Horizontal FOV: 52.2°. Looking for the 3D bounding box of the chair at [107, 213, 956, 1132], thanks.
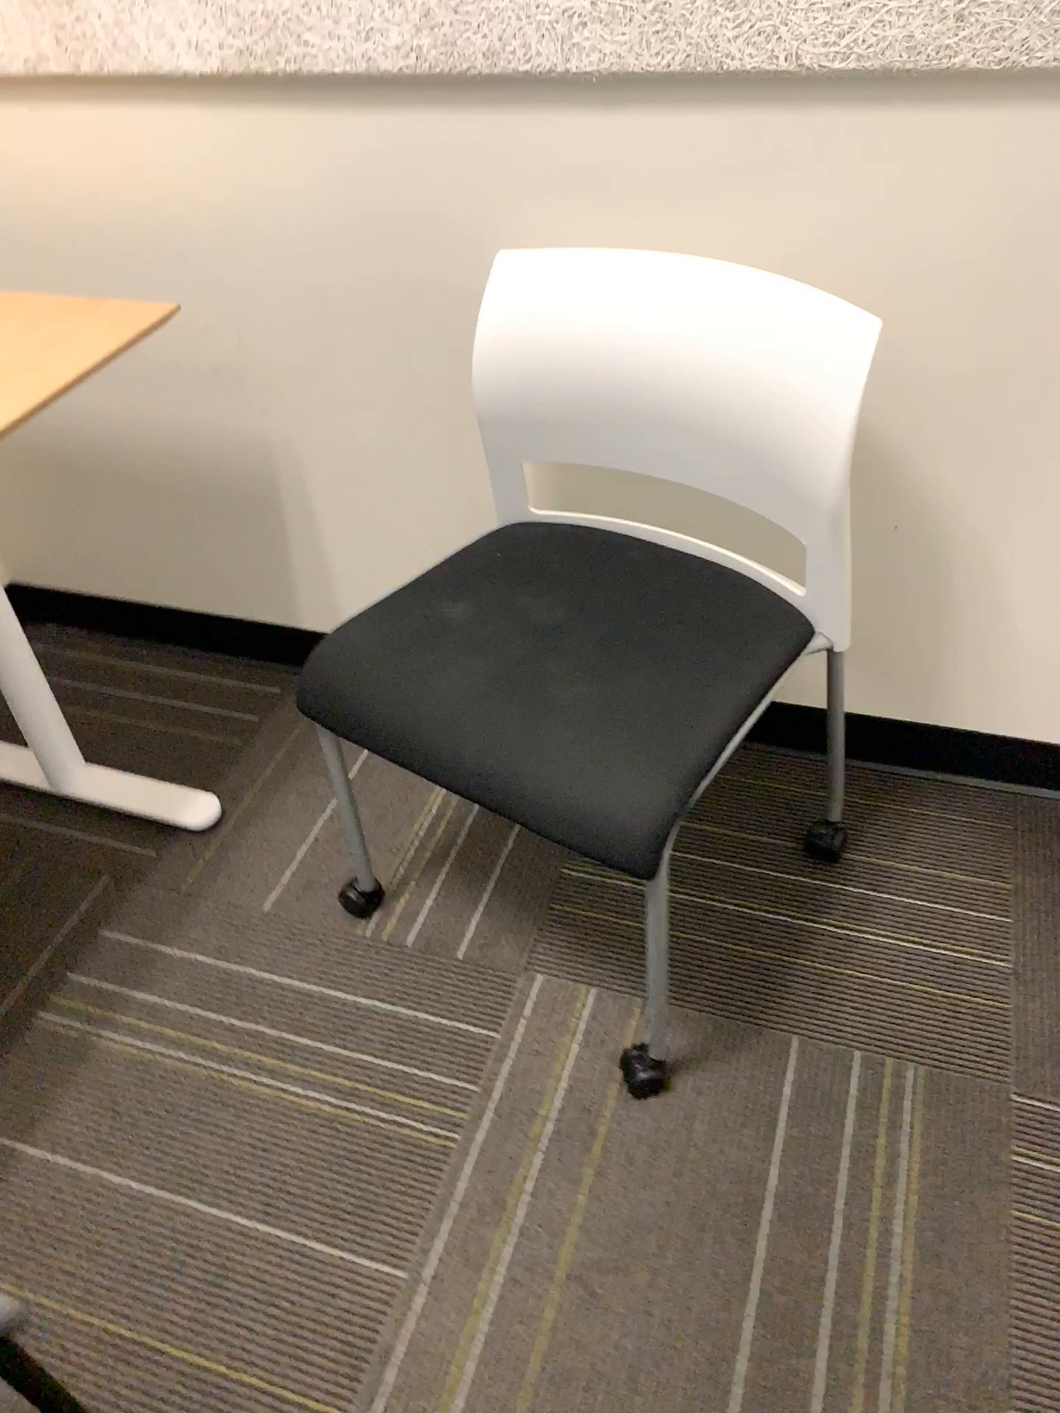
[{"bbox_3d":[0.038,-0.062,1.242,0.582,0.736,0.542,23,49,29],"label":"chair"}]
